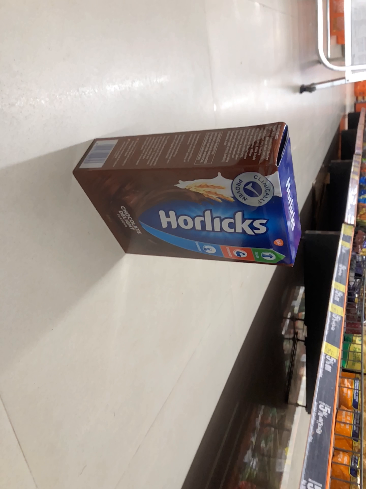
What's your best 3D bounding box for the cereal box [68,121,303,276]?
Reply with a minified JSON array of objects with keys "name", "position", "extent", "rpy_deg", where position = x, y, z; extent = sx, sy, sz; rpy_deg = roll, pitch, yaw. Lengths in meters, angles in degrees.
[{"name":"cereal box","position":[0.011,-0.039,0.413],"extent":[0.141,0.199,0.060],"rpy_deg":[66,34,-45]}]
